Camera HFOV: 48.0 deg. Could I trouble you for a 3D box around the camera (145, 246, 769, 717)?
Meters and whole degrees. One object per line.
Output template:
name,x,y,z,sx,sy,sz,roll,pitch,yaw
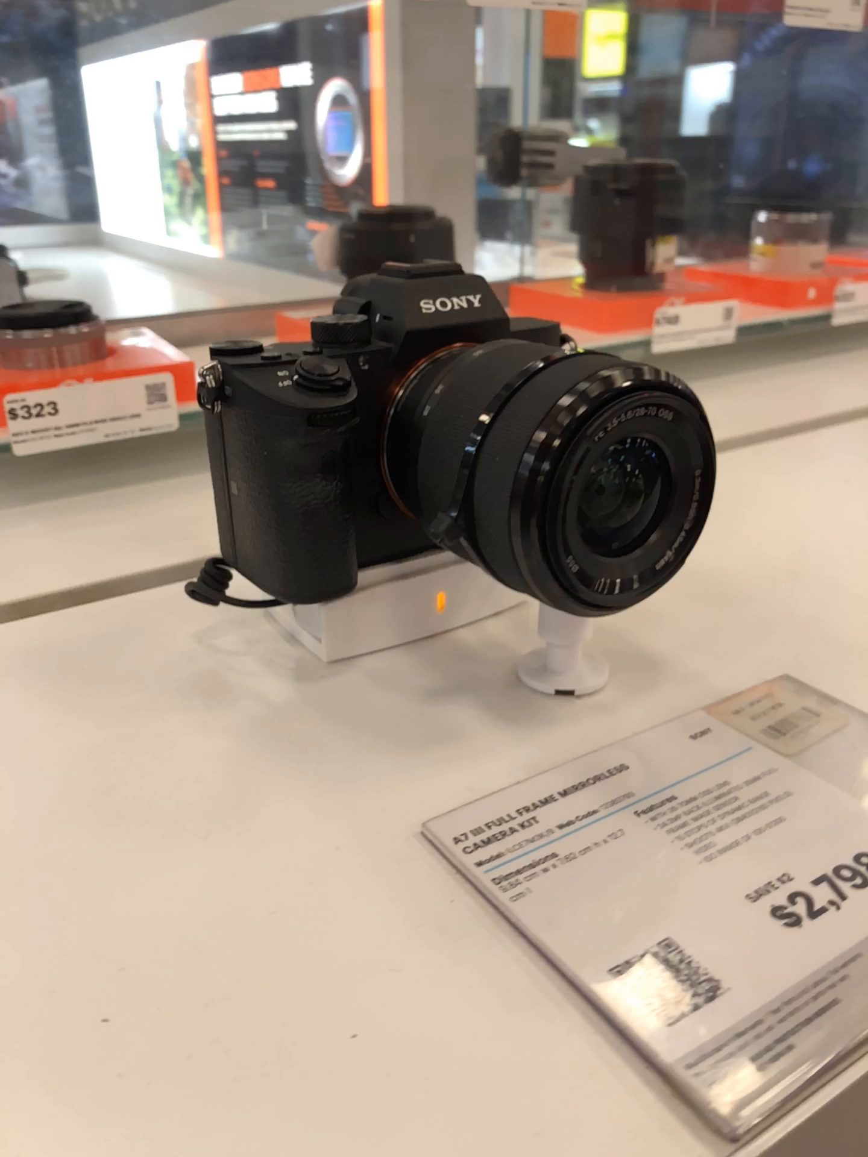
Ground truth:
camera,-0.001,-0.051,0.328,0.130,0.100,0.160,-16,27,-30
